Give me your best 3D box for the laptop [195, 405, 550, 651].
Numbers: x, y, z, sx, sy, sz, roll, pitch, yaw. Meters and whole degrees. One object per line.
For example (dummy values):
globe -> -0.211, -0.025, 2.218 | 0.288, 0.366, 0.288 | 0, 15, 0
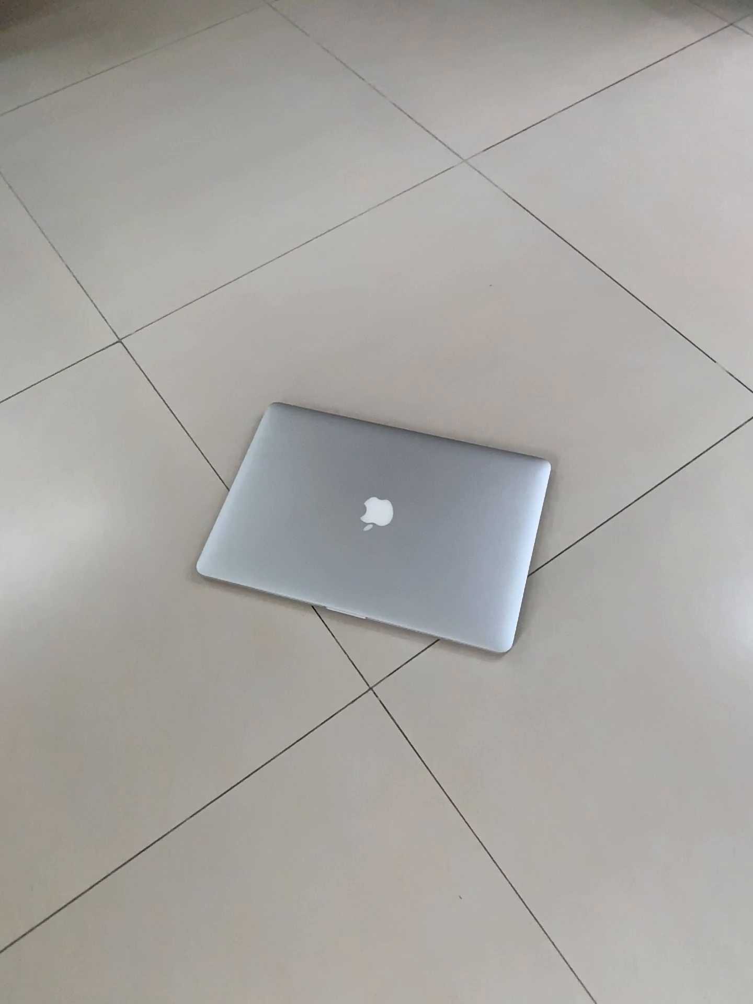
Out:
laptop -> 0.000, 0.016, 0.885 | 0.356, 0.001, 0.239 | 13, 62, 11
